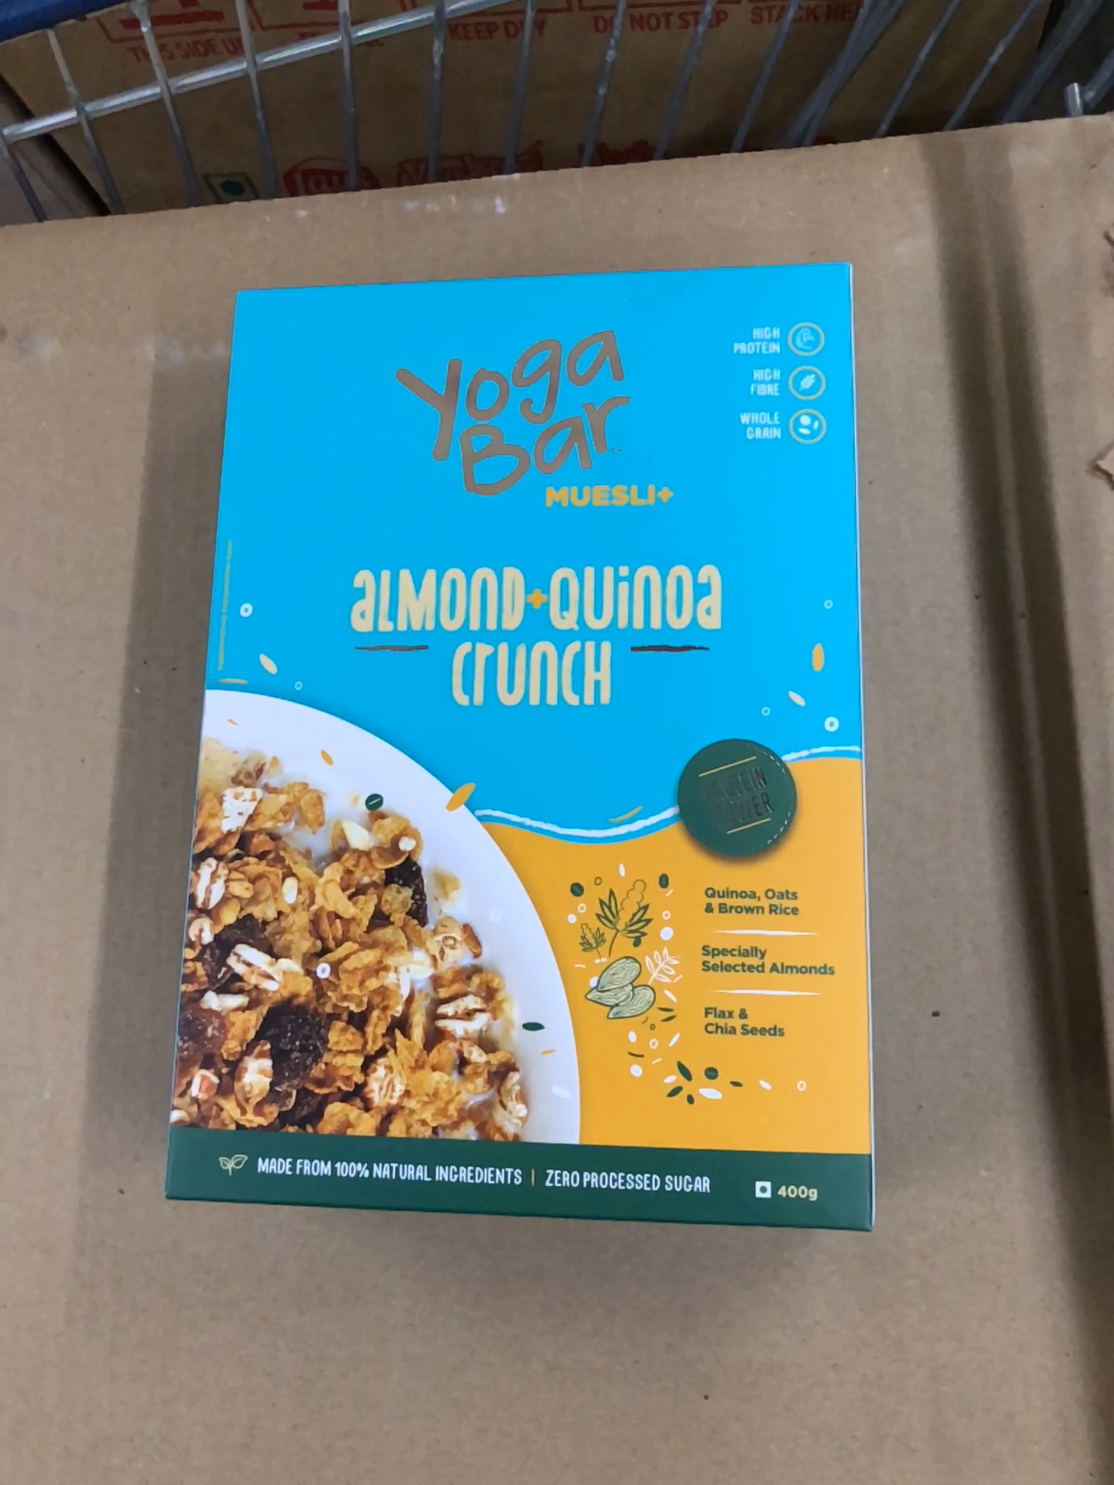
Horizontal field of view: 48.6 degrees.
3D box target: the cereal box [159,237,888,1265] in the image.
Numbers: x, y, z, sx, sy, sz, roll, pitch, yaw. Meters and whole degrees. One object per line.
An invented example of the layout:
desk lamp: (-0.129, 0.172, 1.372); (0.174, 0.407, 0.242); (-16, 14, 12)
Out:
cereal box: (-0.005, -0.001, 0.324); (0.160, 0.070, 0.240); (0, 80, 4)
